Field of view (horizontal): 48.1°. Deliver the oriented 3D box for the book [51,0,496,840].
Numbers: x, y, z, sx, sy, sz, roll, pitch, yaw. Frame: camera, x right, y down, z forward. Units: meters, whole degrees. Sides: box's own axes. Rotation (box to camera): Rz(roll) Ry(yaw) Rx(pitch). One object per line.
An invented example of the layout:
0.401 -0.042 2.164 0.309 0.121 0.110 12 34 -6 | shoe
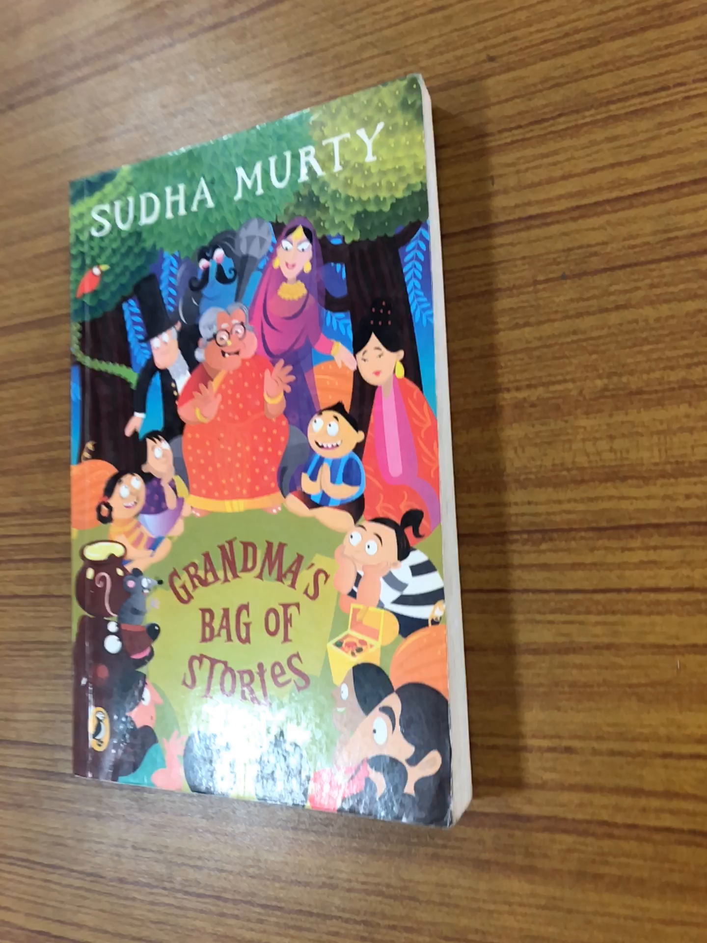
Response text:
-0.031 -0.012 0.238 0.130 0.030 0.210 -5 83 26 | book
